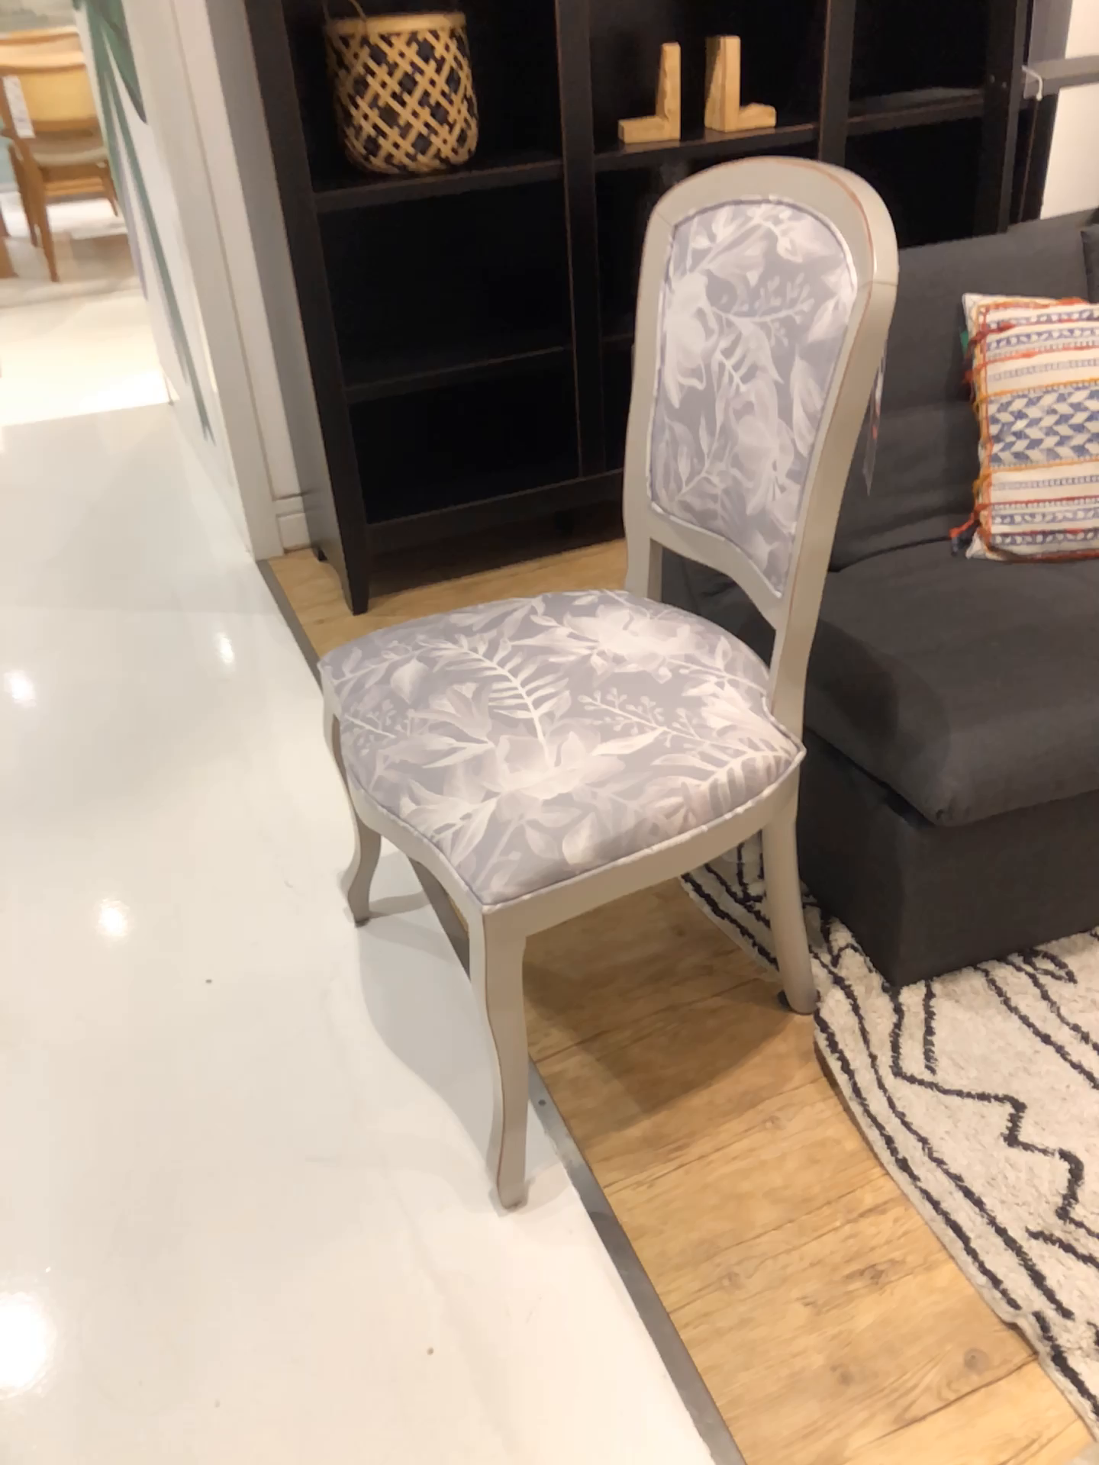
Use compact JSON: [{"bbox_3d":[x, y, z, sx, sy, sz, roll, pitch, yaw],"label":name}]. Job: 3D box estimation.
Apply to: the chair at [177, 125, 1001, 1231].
[{"bbox_3d":[0.014,-0.079,1.316,0.531,0.942,0.574,-16,35,-17],"label":"chair"}]
